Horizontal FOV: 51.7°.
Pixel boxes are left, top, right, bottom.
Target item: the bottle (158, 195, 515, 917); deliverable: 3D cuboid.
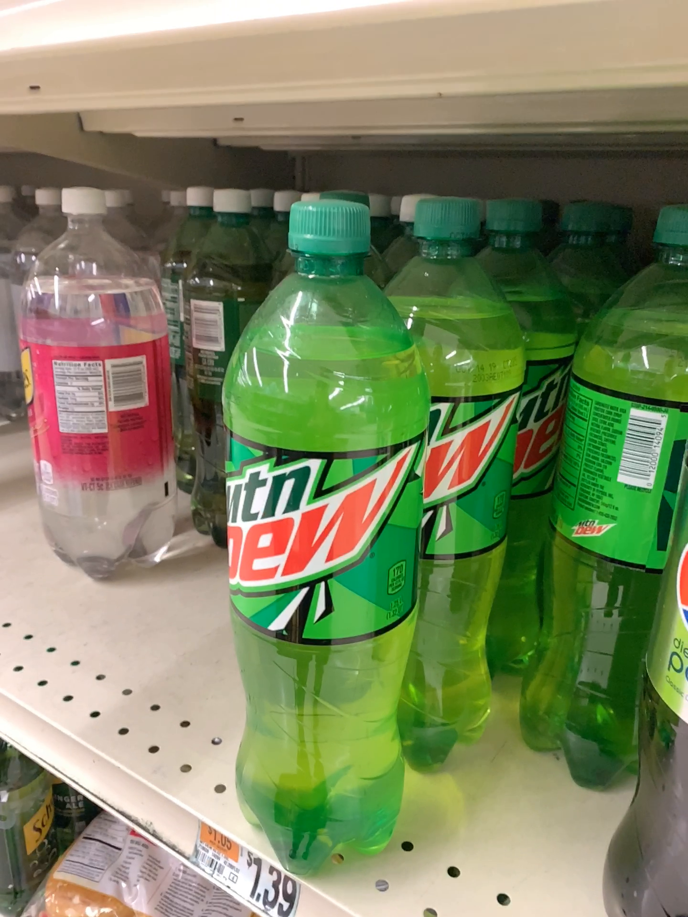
[{"bbox_3d":[-0.006,0.045,0.317,0.100,0.302,0.090,16,24,33],"label":"bottle"}]
